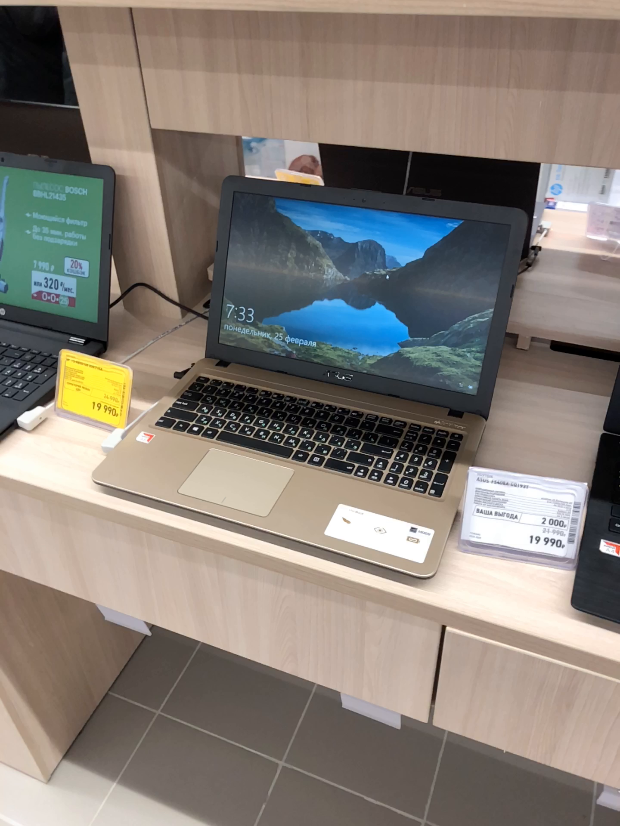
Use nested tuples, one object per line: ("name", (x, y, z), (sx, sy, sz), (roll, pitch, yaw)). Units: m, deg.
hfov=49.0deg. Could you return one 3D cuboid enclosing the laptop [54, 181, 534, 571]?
("laptop", (0.011, -0.075, 0.749), (0.366, 0.208, 0.351), (12, 40, 19))
